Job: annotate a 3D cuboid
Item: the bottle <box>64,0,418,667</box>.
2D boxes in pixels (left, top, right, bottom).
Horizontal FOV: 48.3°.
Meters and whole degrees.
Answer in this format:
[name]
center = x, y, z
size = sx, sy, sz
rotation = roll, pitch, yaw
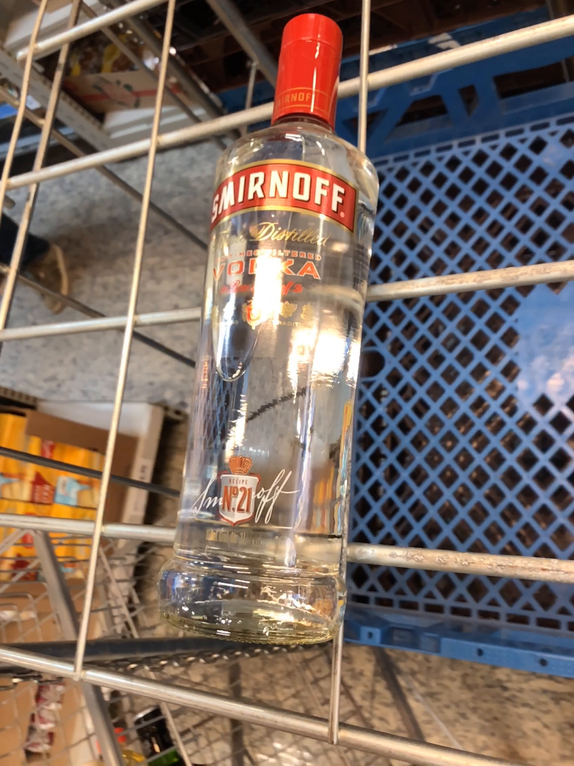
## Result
[bottle]
center = -0.008, -0.044, 0.312
size = 0.100, 0.100, 0.310
rotation = -1, 76, 29
